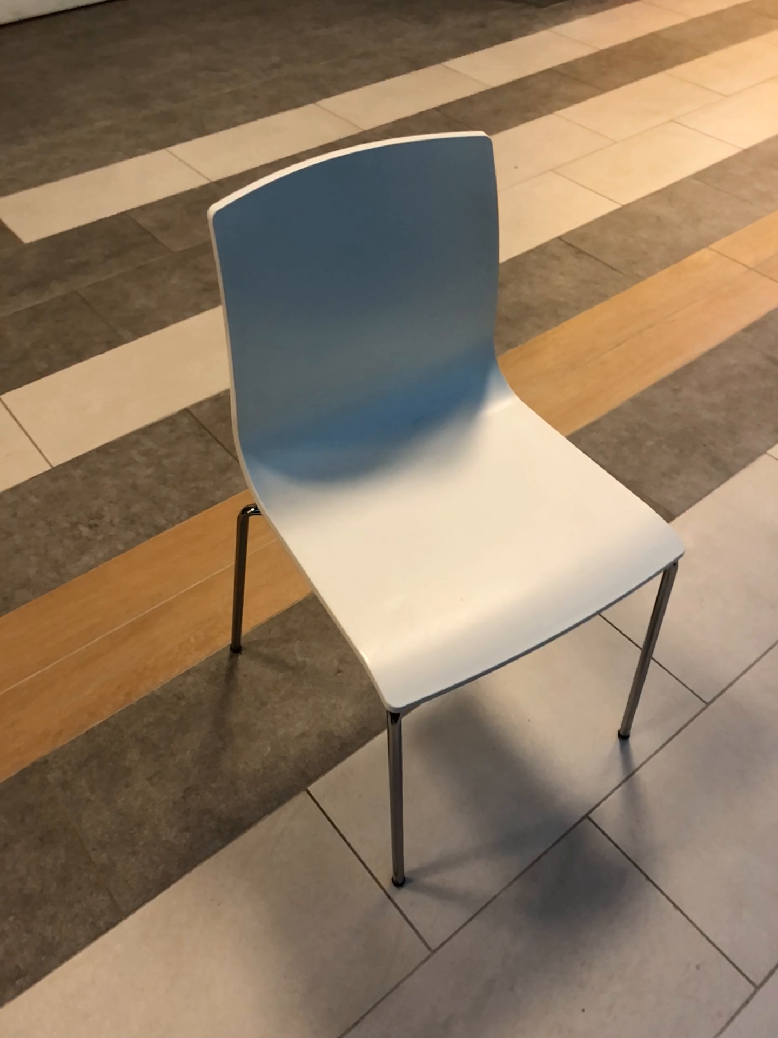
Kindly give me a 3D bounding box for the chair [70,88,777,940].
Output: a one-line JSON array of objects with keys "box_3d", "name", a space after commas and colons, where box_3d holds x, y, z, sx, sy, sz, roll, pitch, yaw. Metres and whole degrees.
[{"box_3d": [0.070, 0.001, 1.100, 0.581, 0.776, 0.552, -27, 53, -23], "name": "chair"}]
